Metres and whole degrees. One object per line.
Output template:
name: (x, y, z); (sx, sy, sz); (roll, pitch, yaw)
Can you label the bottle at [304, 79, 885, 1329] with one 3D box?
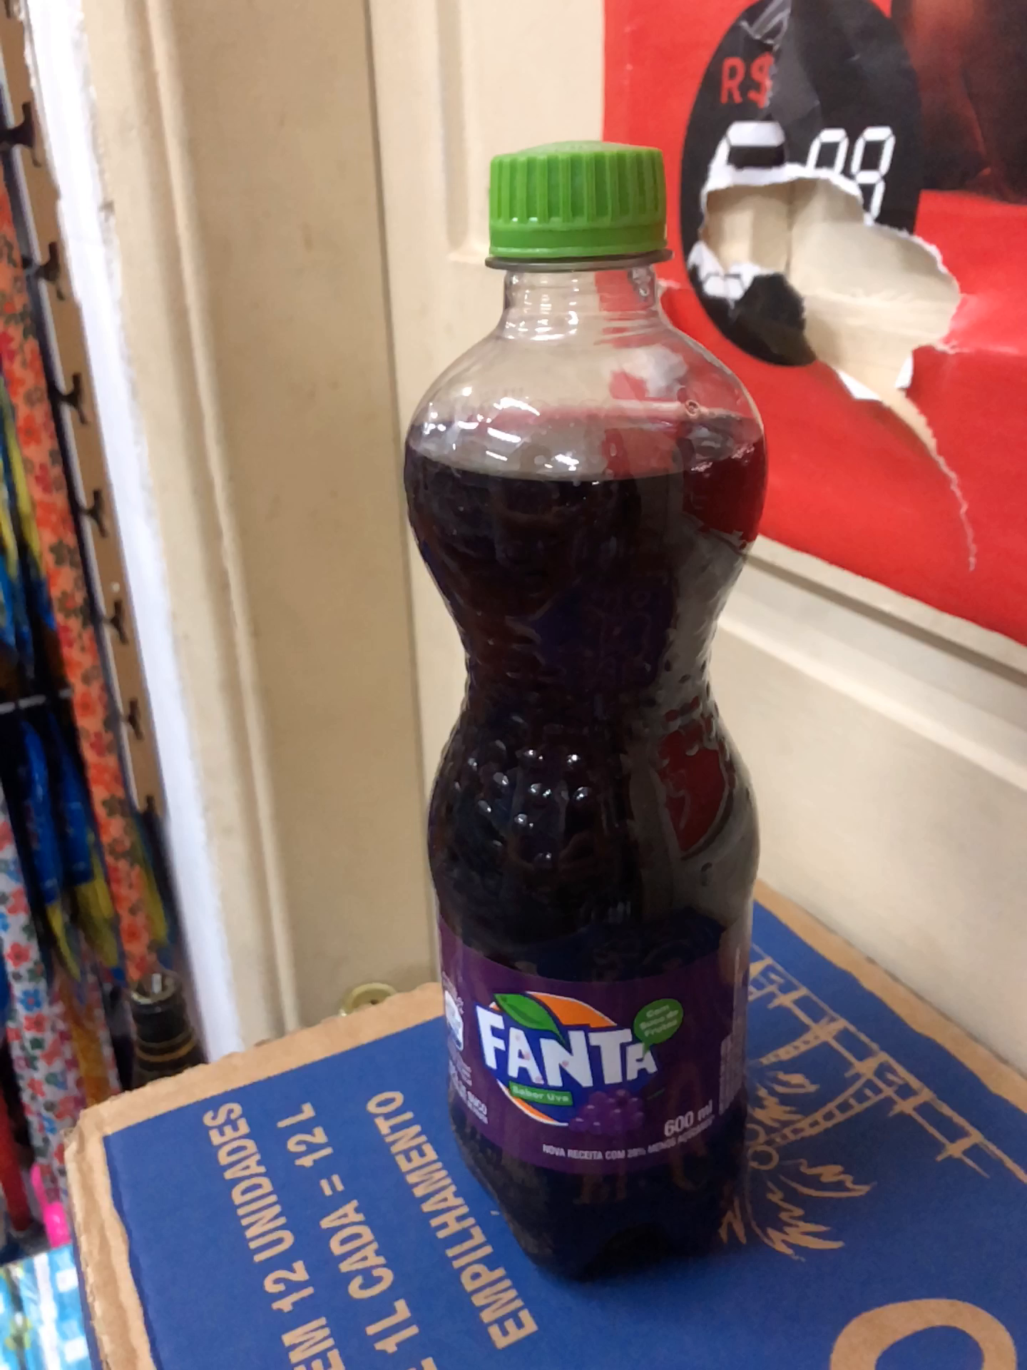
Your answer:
bottle: (0.020, 0.010, 0.232); (0.080, 0.228, 0.070); (4, 24, 14)
